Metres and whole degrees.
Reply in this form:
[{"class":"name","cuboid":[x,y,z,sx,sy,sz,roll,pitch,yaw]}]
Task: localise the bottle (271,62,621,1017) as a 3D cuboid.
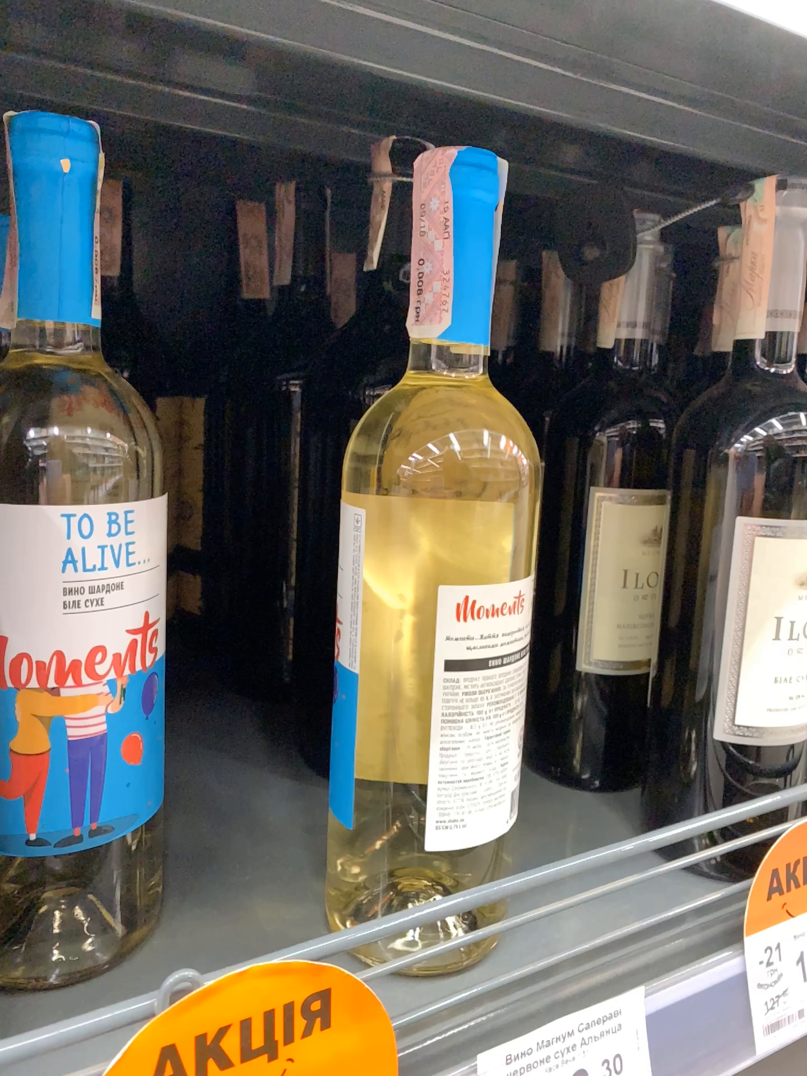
[{"class":"bottle","cuboid":[0.011,0.005,0.326,0.081,0.313,0.080,4,11,-1]}]
